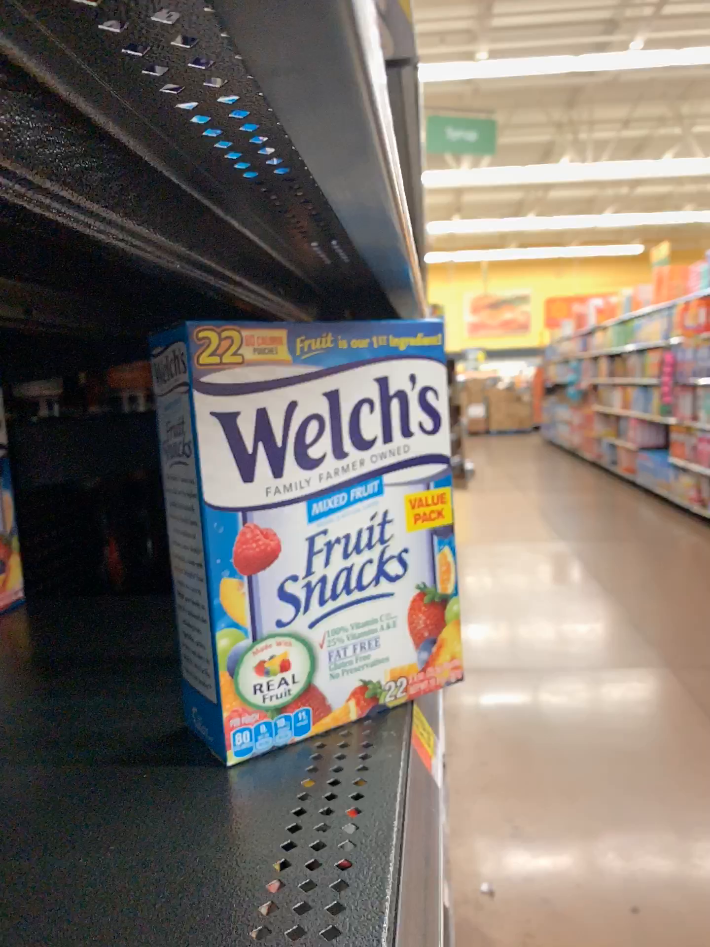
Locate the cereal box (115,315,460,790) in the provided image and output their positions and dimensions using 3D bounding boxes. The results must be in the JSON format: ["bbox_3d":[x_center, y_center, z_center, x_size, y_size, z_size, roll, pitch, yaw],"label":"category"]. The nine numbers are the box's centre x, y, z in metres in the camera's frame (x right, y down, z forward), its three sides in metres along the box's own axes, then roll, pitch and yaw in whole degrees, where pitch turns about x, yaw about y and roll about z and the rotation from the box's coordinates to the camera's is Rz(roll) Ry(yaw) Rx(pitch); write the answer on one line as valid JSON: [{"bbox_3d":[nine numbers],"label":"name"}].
[{"bbox_3d":[-0.031,0.030,0.426,0.170,0.230,0.060,-9,8,-33],"label":"cereal box"}]
